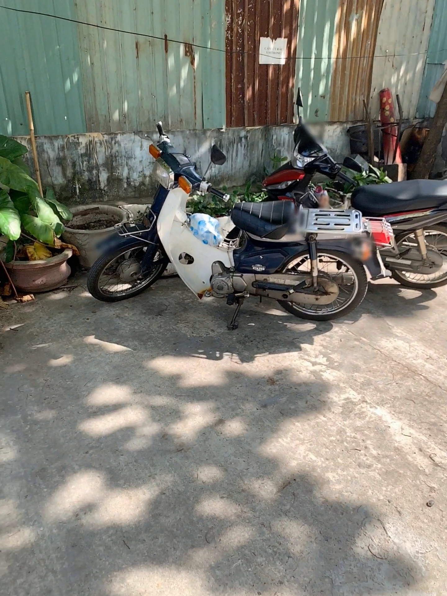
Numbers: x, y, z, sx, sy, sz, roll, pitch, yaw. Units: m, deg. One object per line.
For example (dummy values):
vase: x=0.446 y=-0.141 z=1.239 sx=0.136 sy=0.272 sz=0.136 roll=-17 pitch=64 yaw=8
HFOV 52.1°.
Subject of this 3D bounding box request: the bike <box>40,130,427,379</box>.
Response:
bike: x=0.019 y=-0.225 z=2.255 sx=1.474 sy=1.024 sz=0.656 roll=0 pitch=26 yaw=2
